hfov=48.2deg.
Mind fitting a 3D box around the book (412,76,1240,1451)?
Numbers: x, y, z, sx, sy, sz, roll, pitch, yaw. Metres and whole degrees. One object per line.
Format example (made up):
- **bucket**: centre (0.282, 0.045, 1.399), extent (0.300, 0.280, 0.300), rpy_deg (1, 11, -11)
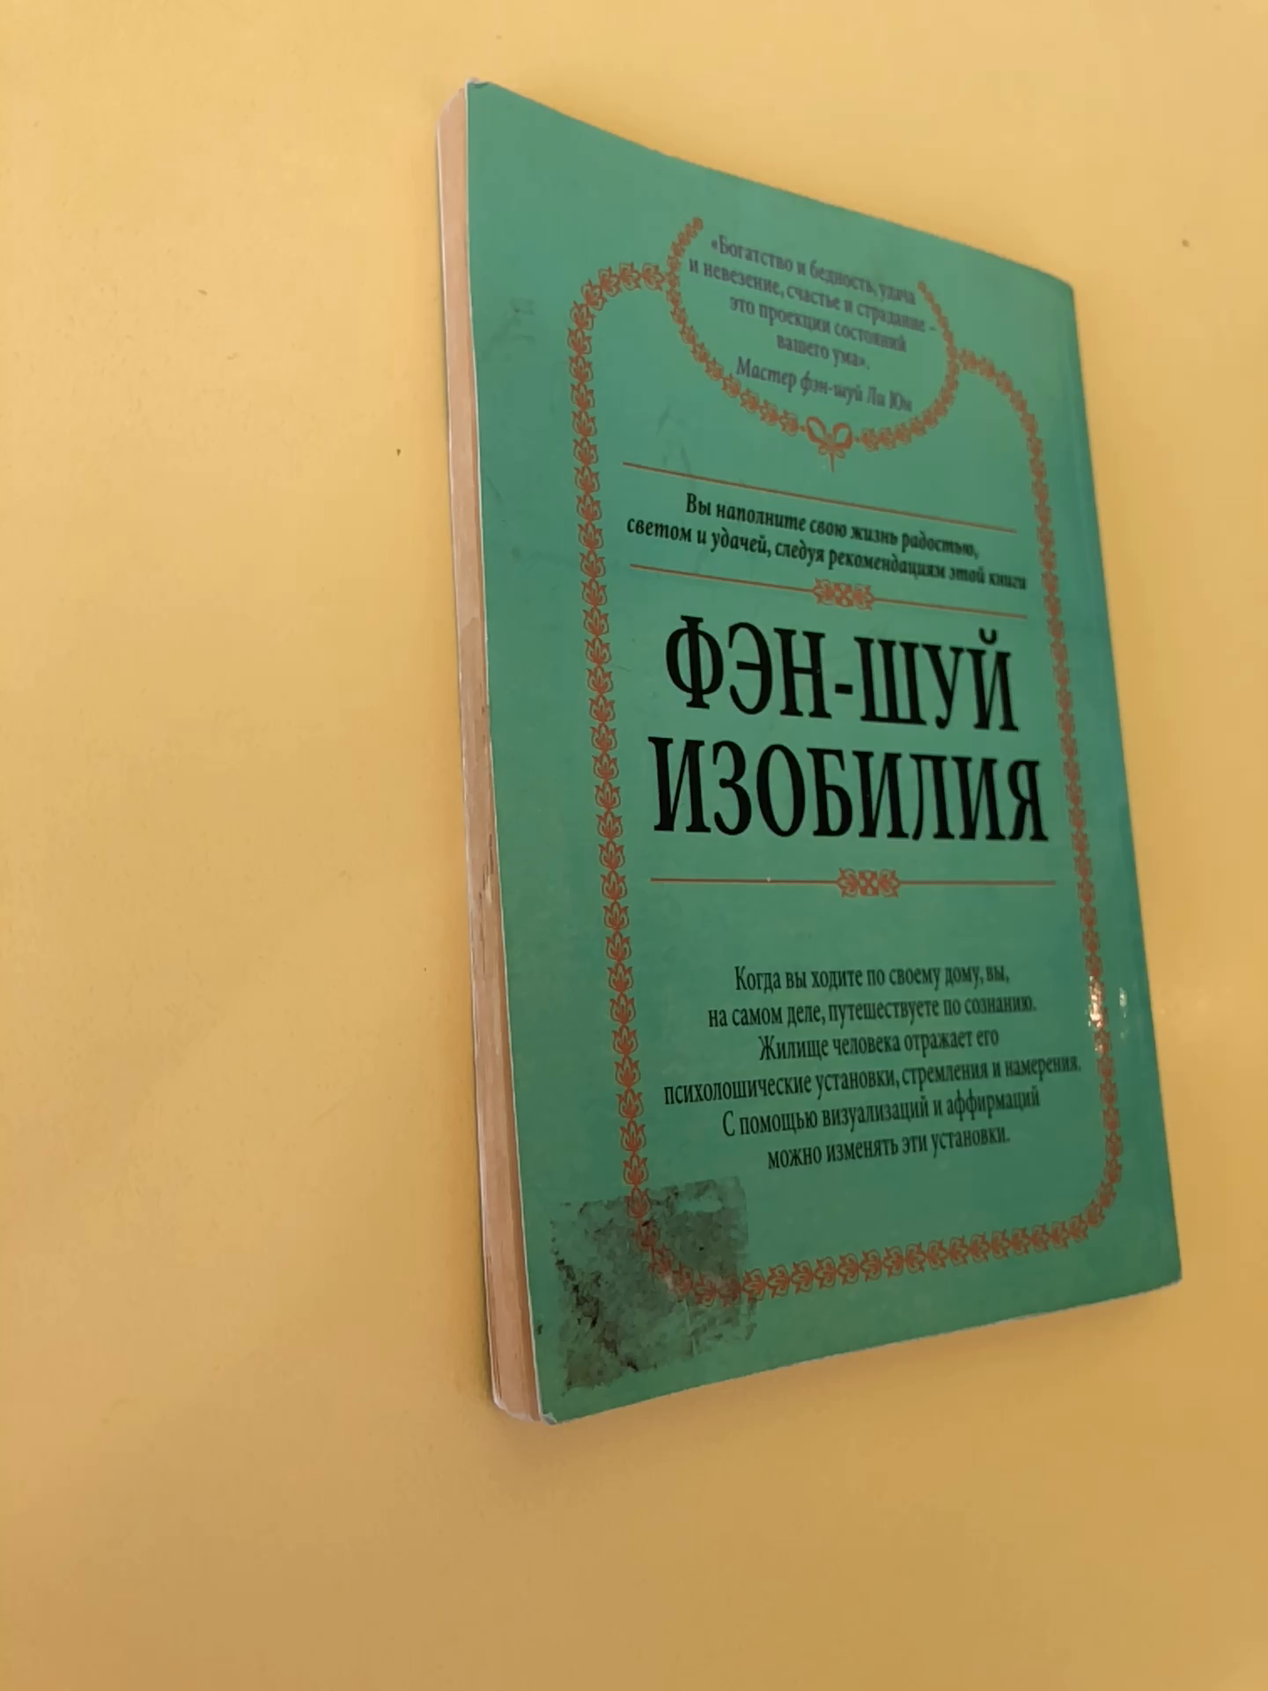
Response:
- **book**: centre (0.031, -0.013, 0.206), extent (0.118, 0.020, 0.166), rpy_deg (1, 79, -32)
